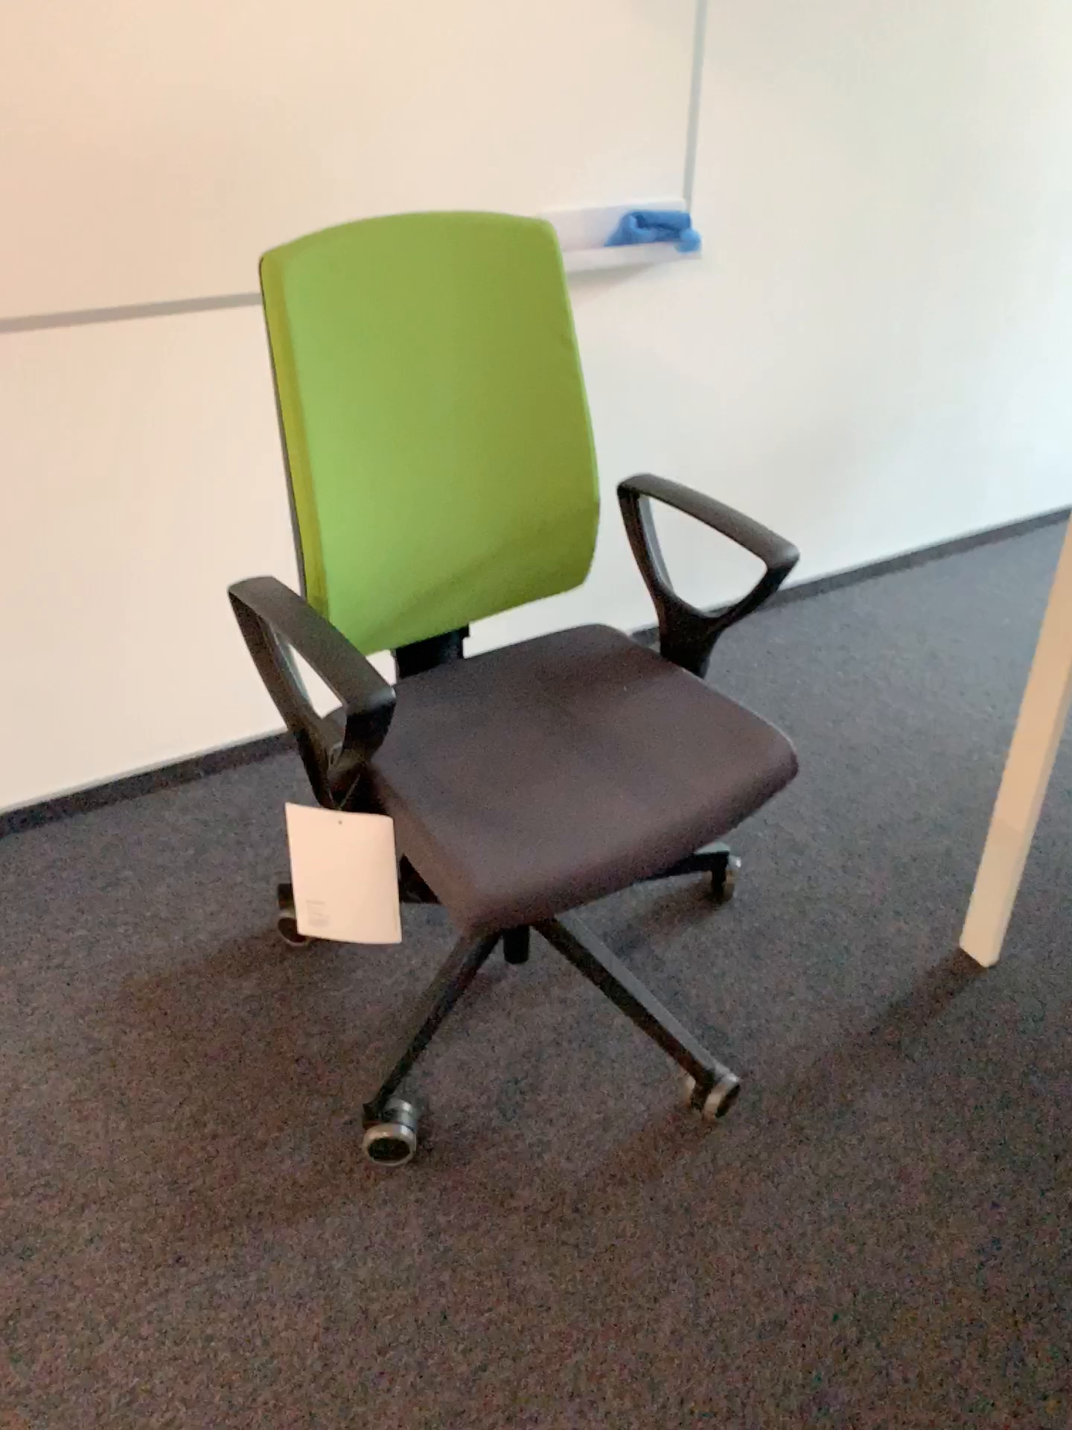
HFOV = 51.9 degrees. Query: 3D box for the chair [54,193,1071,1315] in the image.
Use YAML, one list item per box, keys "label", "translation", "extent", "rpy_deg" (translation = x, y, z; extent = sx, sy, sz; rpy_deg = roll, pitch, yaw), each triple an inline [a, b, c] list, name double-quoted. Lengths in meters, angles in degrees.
- label: "chair"
  translation: [0.010, -0.044, 1.366]
  extent: [0.762, 0.965, 0.732]
  rpy_deg: [-21, 39, -31]
